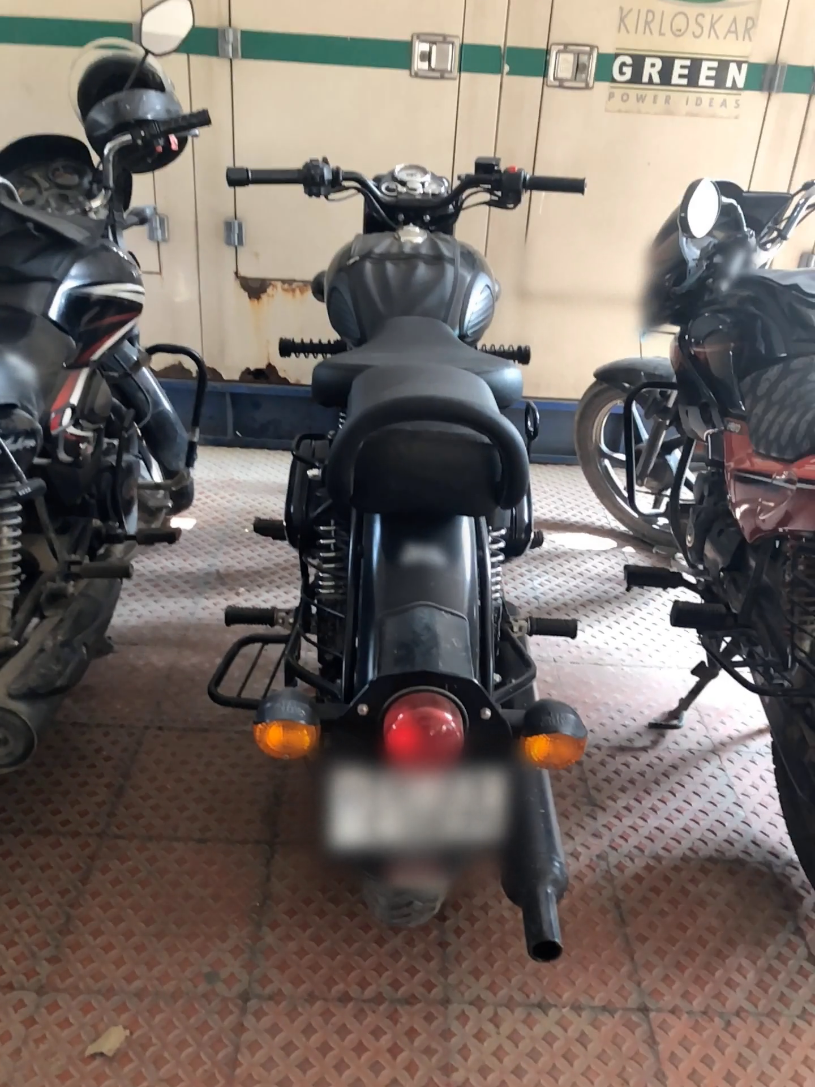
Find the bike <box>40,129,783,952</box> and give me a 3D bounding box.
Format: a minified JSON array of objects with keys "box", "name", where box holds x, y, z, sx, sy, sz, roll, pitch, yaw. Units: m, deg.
[{"box":[-0.080,-0.240,1.802,0.709,0.919,1.696,1,29,-5],"name":"bike"}]
